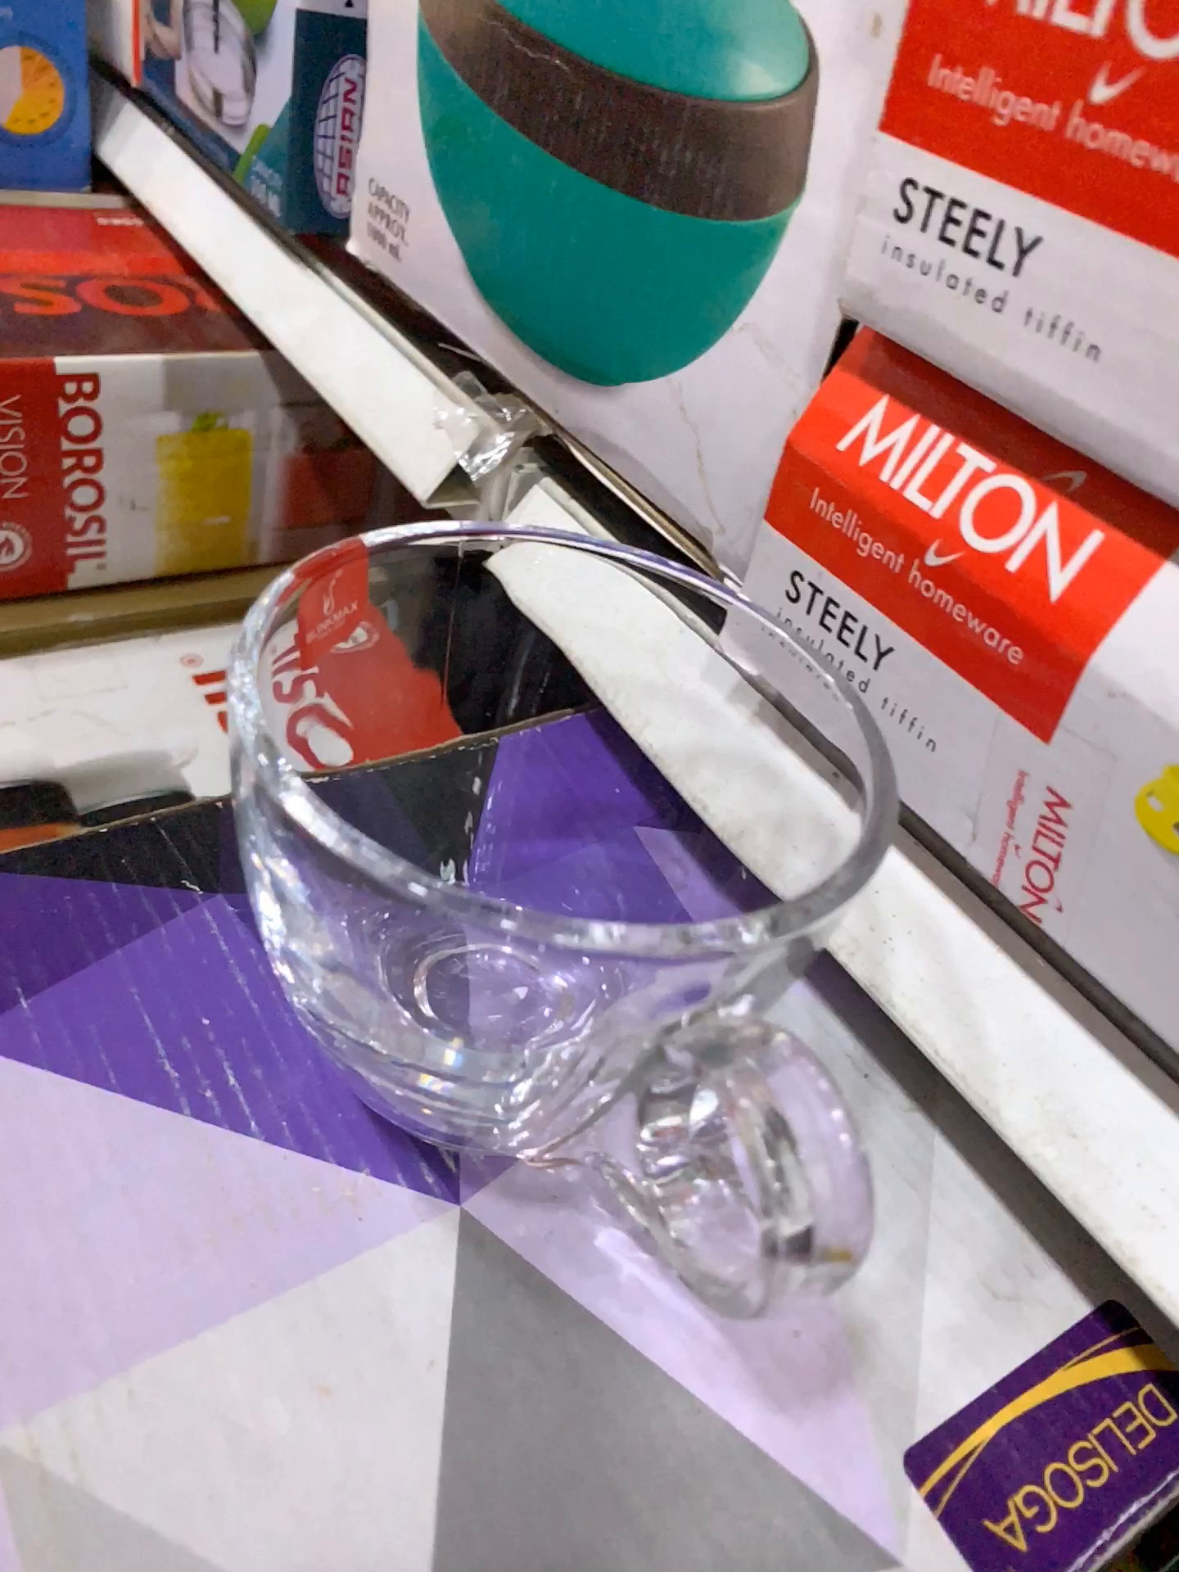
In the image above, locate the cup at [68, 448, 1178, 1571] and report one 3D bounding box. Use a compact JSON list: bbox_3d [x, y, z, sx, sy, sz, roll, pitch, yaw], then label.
[{"bbox_3d":[-0.006,0.015,0.151,0.080,0.059,0.111,-14,46,-28],"label":"cup"}]
